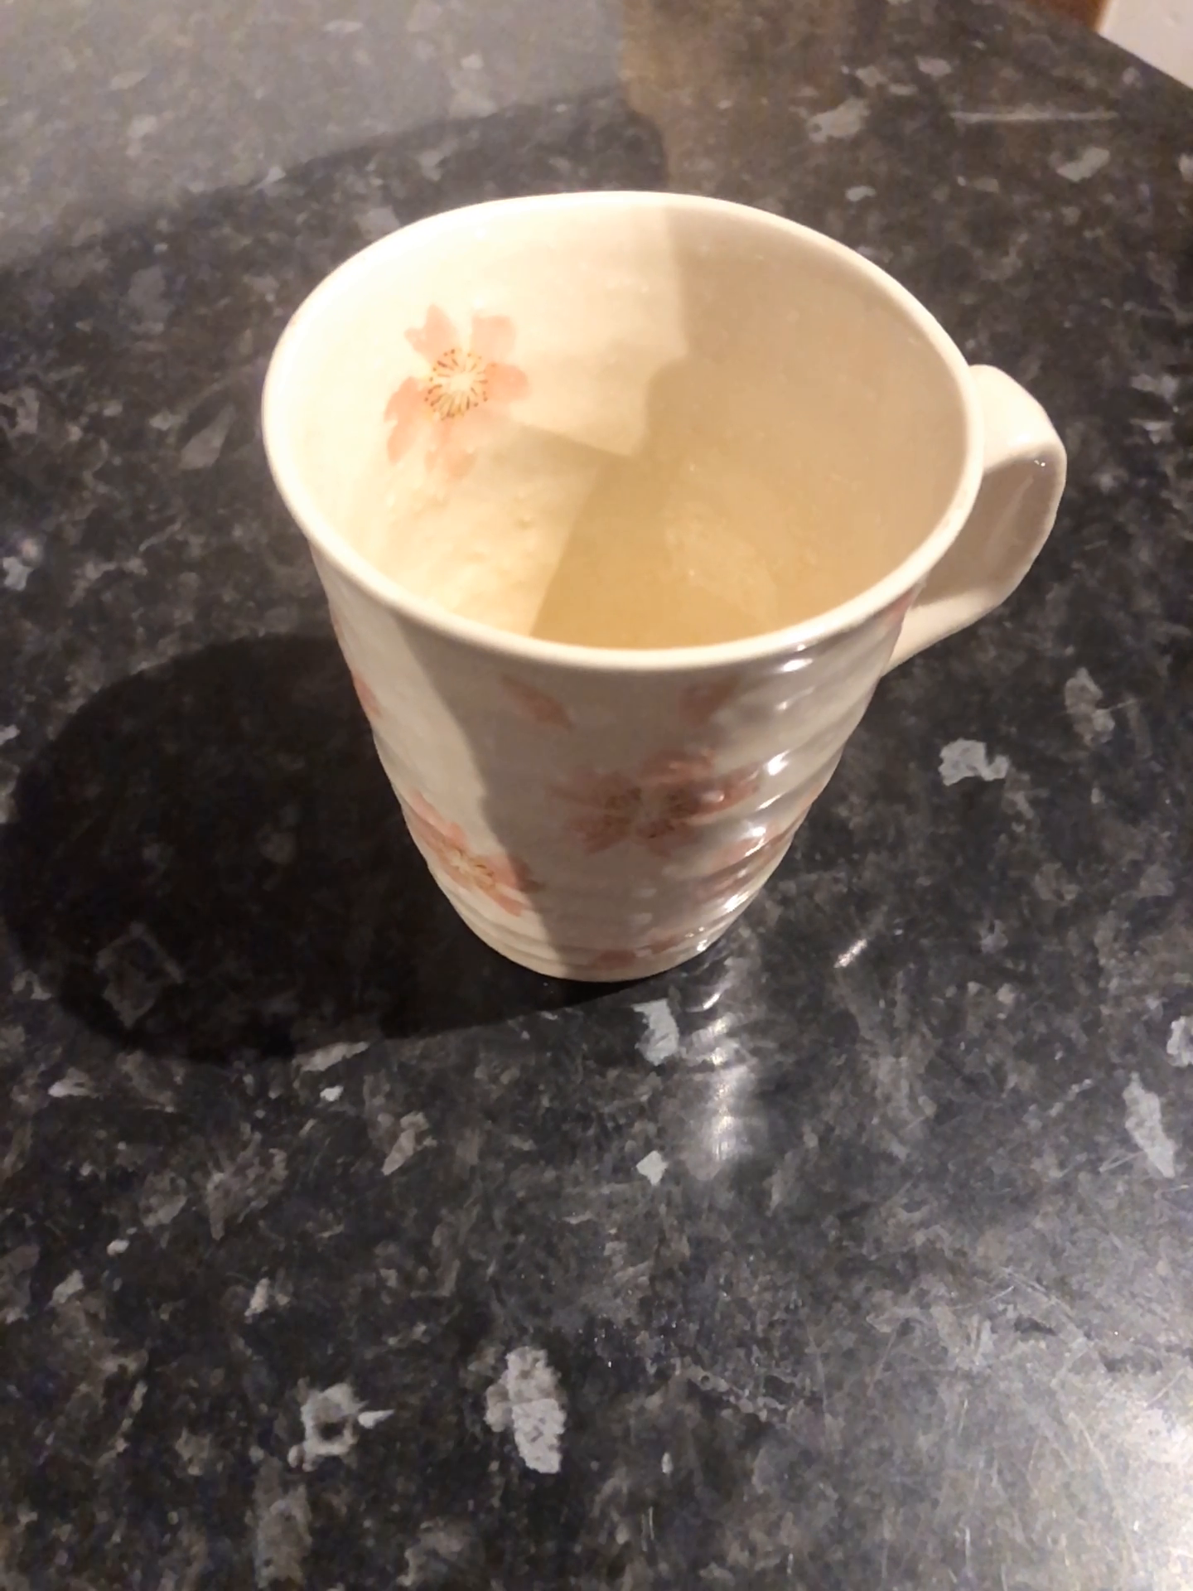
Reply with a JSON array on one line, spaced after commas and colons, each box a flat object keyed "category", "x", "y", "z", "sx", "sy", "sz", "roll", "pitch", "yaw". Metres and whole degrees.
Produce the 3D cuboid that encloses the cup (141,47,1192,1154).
[{"category": "cup", "x": 0.020, "y": -0.030, "z": 0.203, "sx": 0.130, "sy": 0.100, "sz": 0.090, "roll": -21, "pitch": 59, "yaw": -16}]
